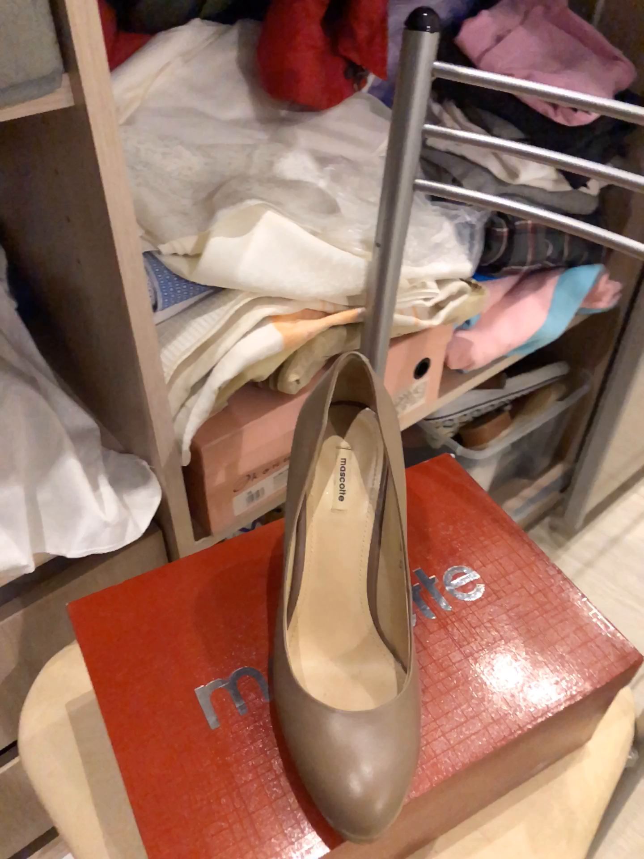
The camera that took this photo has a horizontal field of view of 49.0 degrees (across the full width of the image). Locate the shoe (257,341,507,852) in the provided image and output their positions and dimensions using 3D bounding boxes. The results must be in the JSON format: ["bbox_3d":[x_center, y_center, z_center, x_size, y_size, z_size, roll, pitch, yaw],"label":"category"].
[{"bbox_3d":[0.014,0.077,0.378,0.083,0.145,0.216,-3,42,-5],"label":"shoe"}]
